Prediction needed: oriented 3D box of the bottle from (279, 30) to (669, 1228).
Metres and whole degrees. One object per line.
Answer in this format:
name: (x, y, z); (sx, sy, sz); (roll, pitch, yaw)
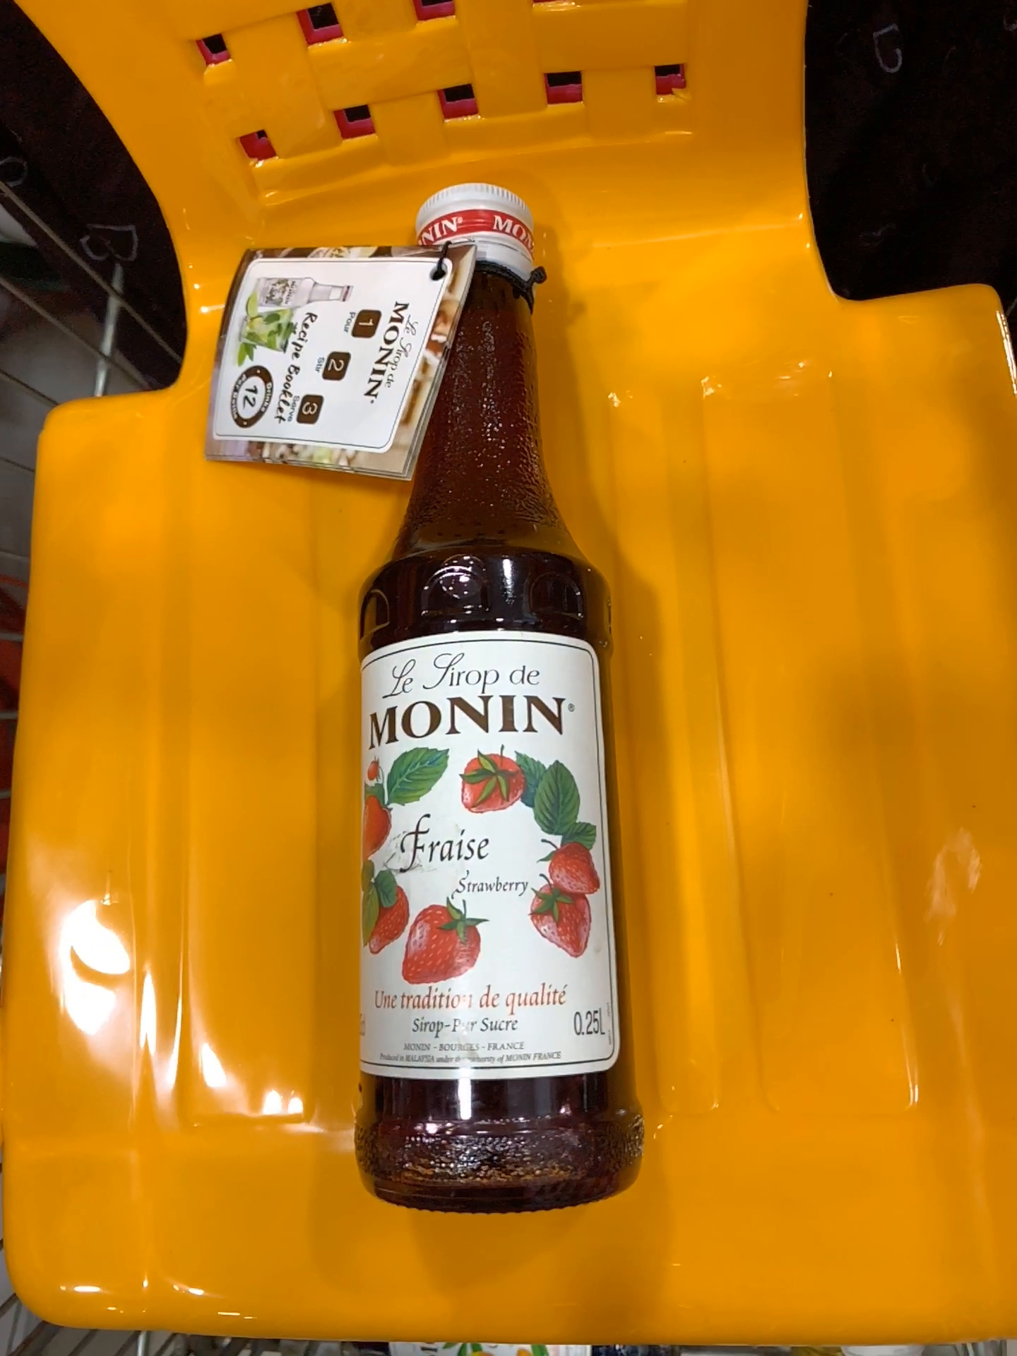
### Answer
bottle: (-0.006, -0.018, 0.223); (0.060, 0.060, 0.230); (-4, 72, 7)
